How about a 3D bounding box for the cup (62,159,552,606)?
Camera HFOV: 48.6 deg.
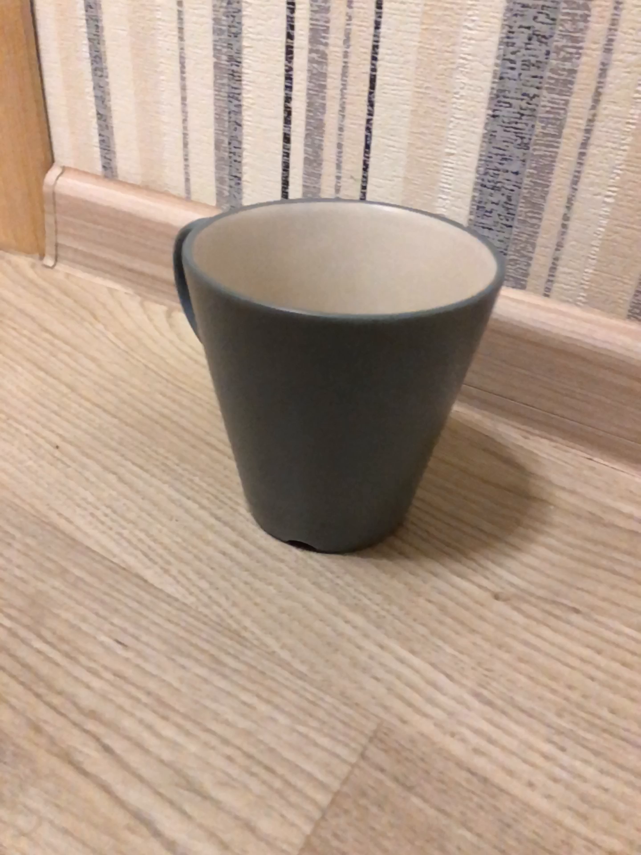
[{"bbox_3d":[-0.009,-0.028,0.249,0.125,0.089,0.096,31,42,34],"label":"cup"}]
